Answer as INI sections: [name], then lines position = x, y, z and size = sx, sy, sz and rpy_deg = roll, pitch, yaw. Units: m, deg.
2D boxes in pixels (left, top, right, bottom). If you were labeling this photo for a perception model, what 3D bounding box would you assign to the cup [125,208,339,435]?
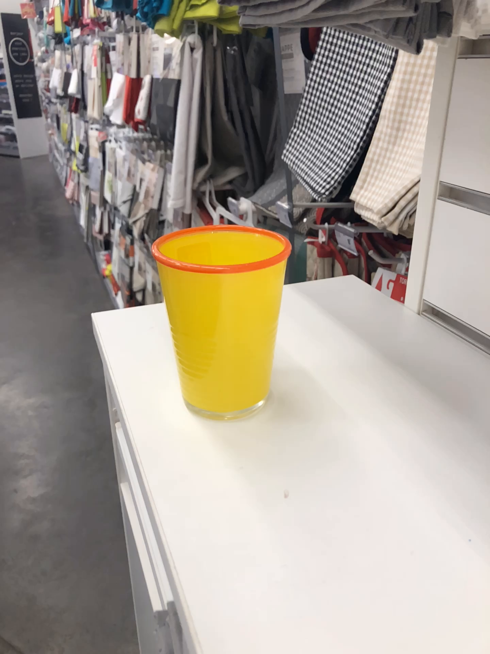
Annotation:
[cup]
position = -0.008, -0.011, 0.326
size = 0.089, 0.094, 0.084
rpy_deg = 0, 25, 0
